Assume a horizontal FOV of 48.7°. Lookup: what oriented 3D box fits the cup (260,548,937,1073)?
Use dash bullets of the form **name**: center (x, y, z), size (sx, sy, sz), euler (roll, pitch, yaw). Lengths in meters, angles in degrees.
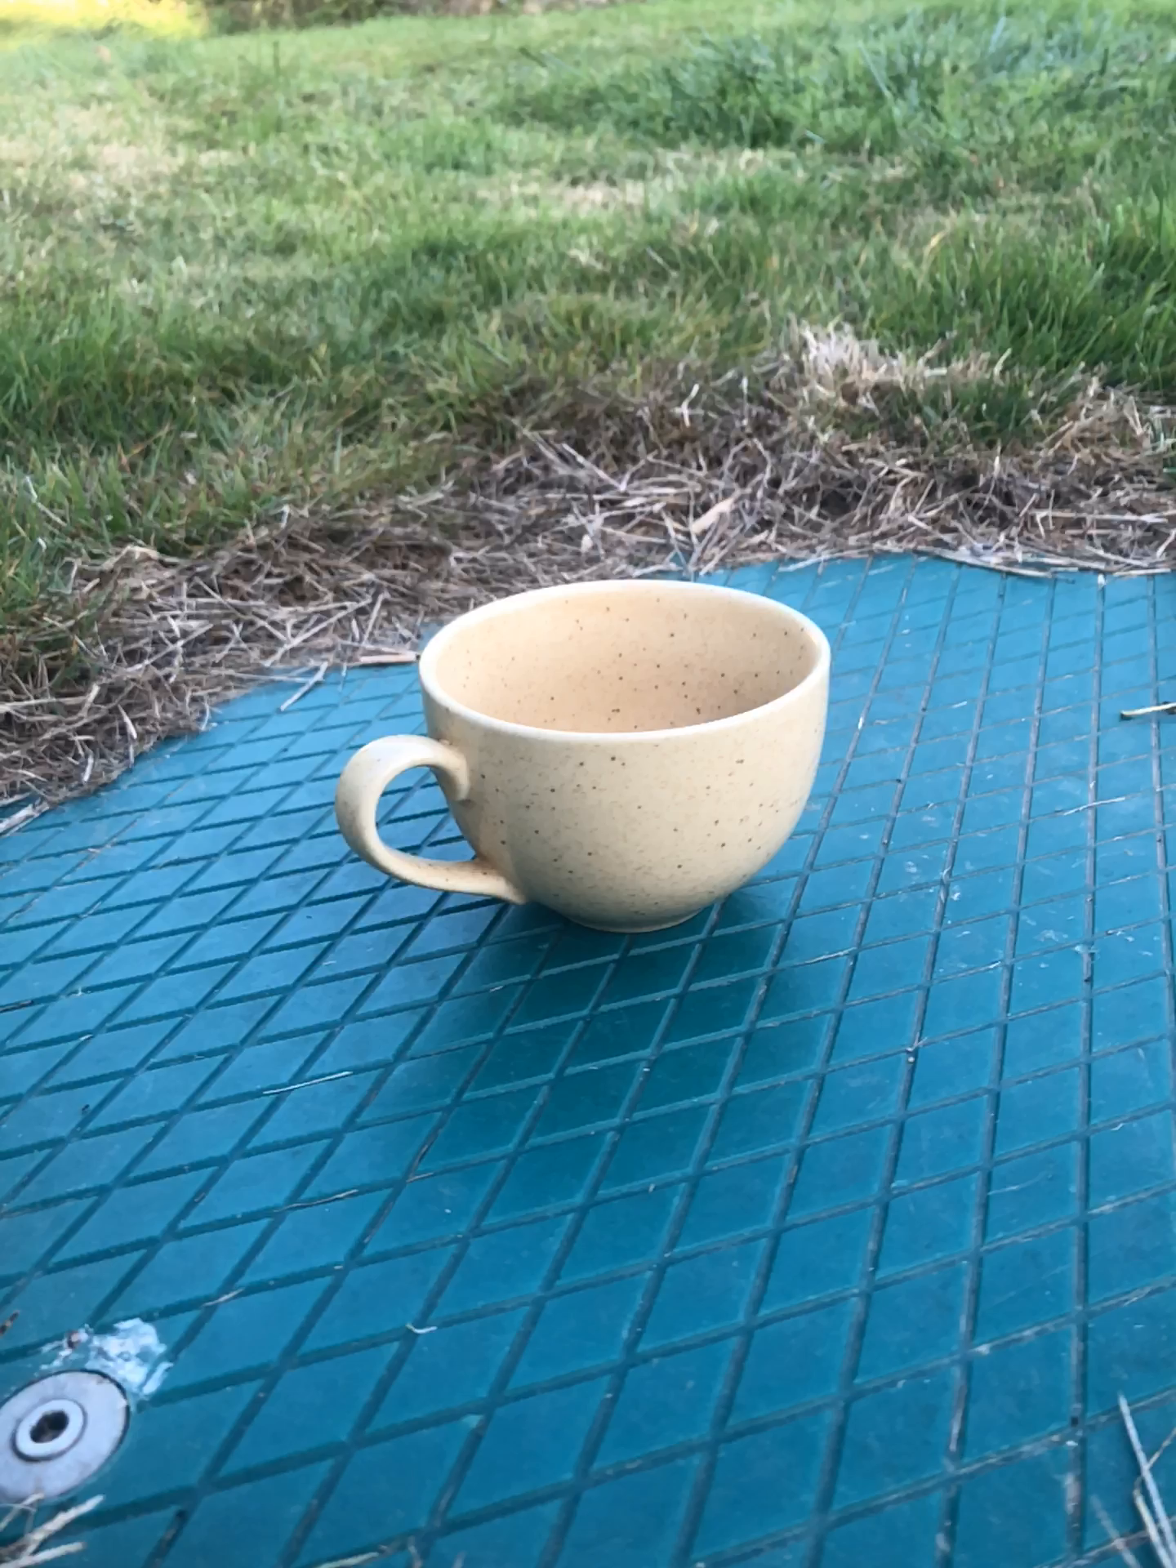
- **cup**: center (0.004, -0.006, 0.375), size (0.143, 0.065, 0.124), euler (-24, 34, -32)
